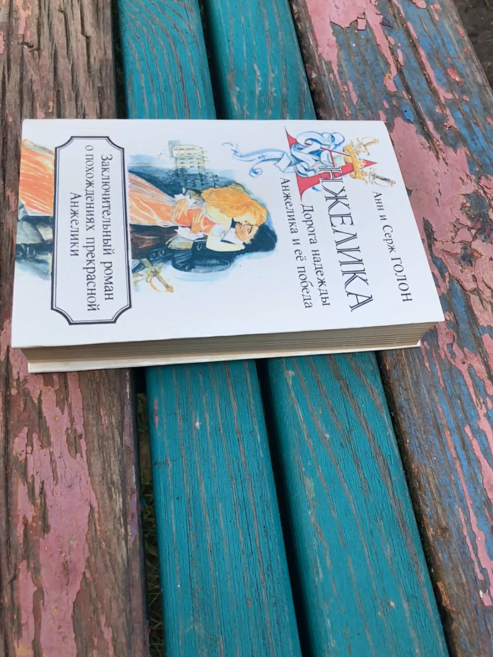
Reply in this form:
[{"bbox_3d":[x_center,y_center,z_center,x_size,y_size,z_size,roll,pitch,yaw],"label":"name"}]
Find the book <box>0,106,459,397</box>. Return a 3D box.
[{"bbox_3d":[-0.012,-0.050,0.296,0.213,0.032,0.154,-4,66,-9],"label":"book"}]
